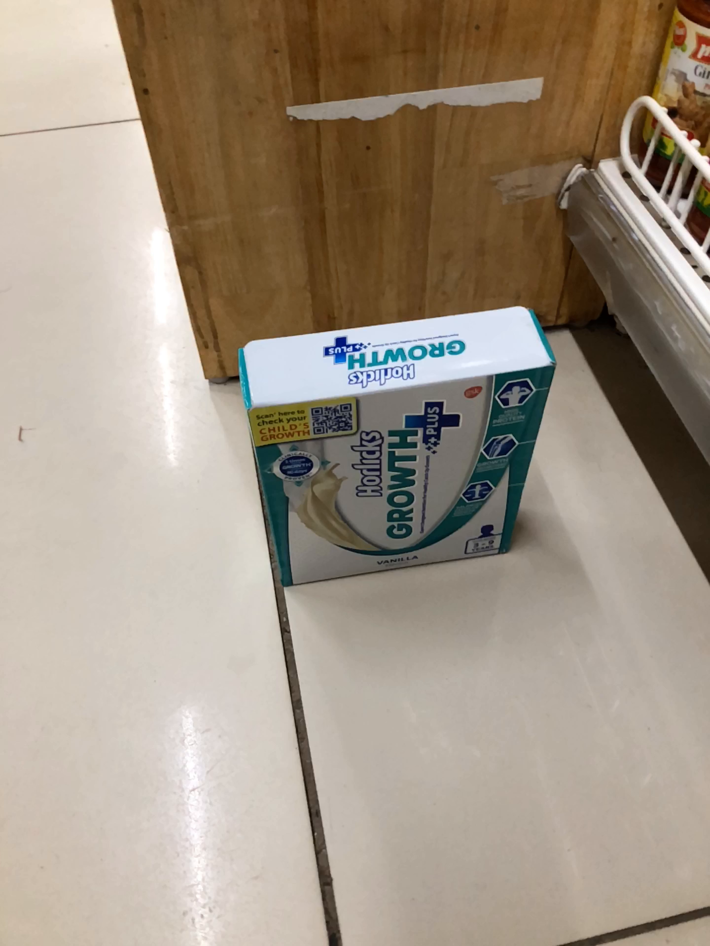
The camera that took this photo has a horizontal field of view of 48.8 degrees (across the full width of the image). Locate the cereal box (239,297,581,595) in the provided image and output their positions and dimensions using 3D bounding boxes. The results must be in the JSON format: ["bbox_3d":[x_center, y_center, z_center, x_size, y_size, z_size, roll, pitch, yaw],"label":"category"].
[{"bbox_3d":[0.026,-0.007,0.421,0.150,0.159,0.050,-8,52,-4],"label":"cereal box"}]
